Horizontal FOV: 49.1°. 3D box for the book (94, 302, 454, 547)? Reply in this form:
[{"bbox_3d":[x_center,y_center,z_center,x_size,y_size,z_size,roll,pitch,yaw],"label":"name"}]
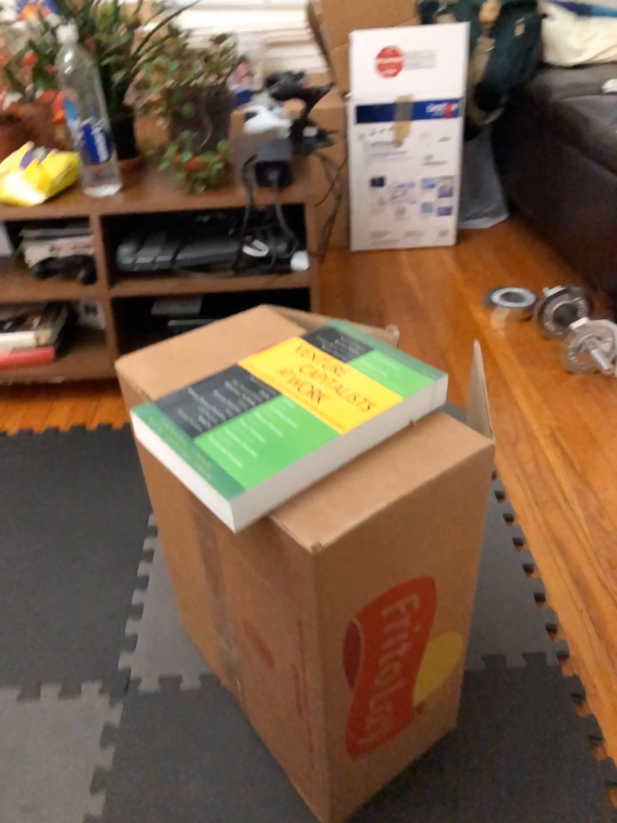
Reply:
[{"bbox_3d":[-0.026,-0.008,0.580,0.261,0.040,0.161,-27,41,-28],"label":"book"}]
